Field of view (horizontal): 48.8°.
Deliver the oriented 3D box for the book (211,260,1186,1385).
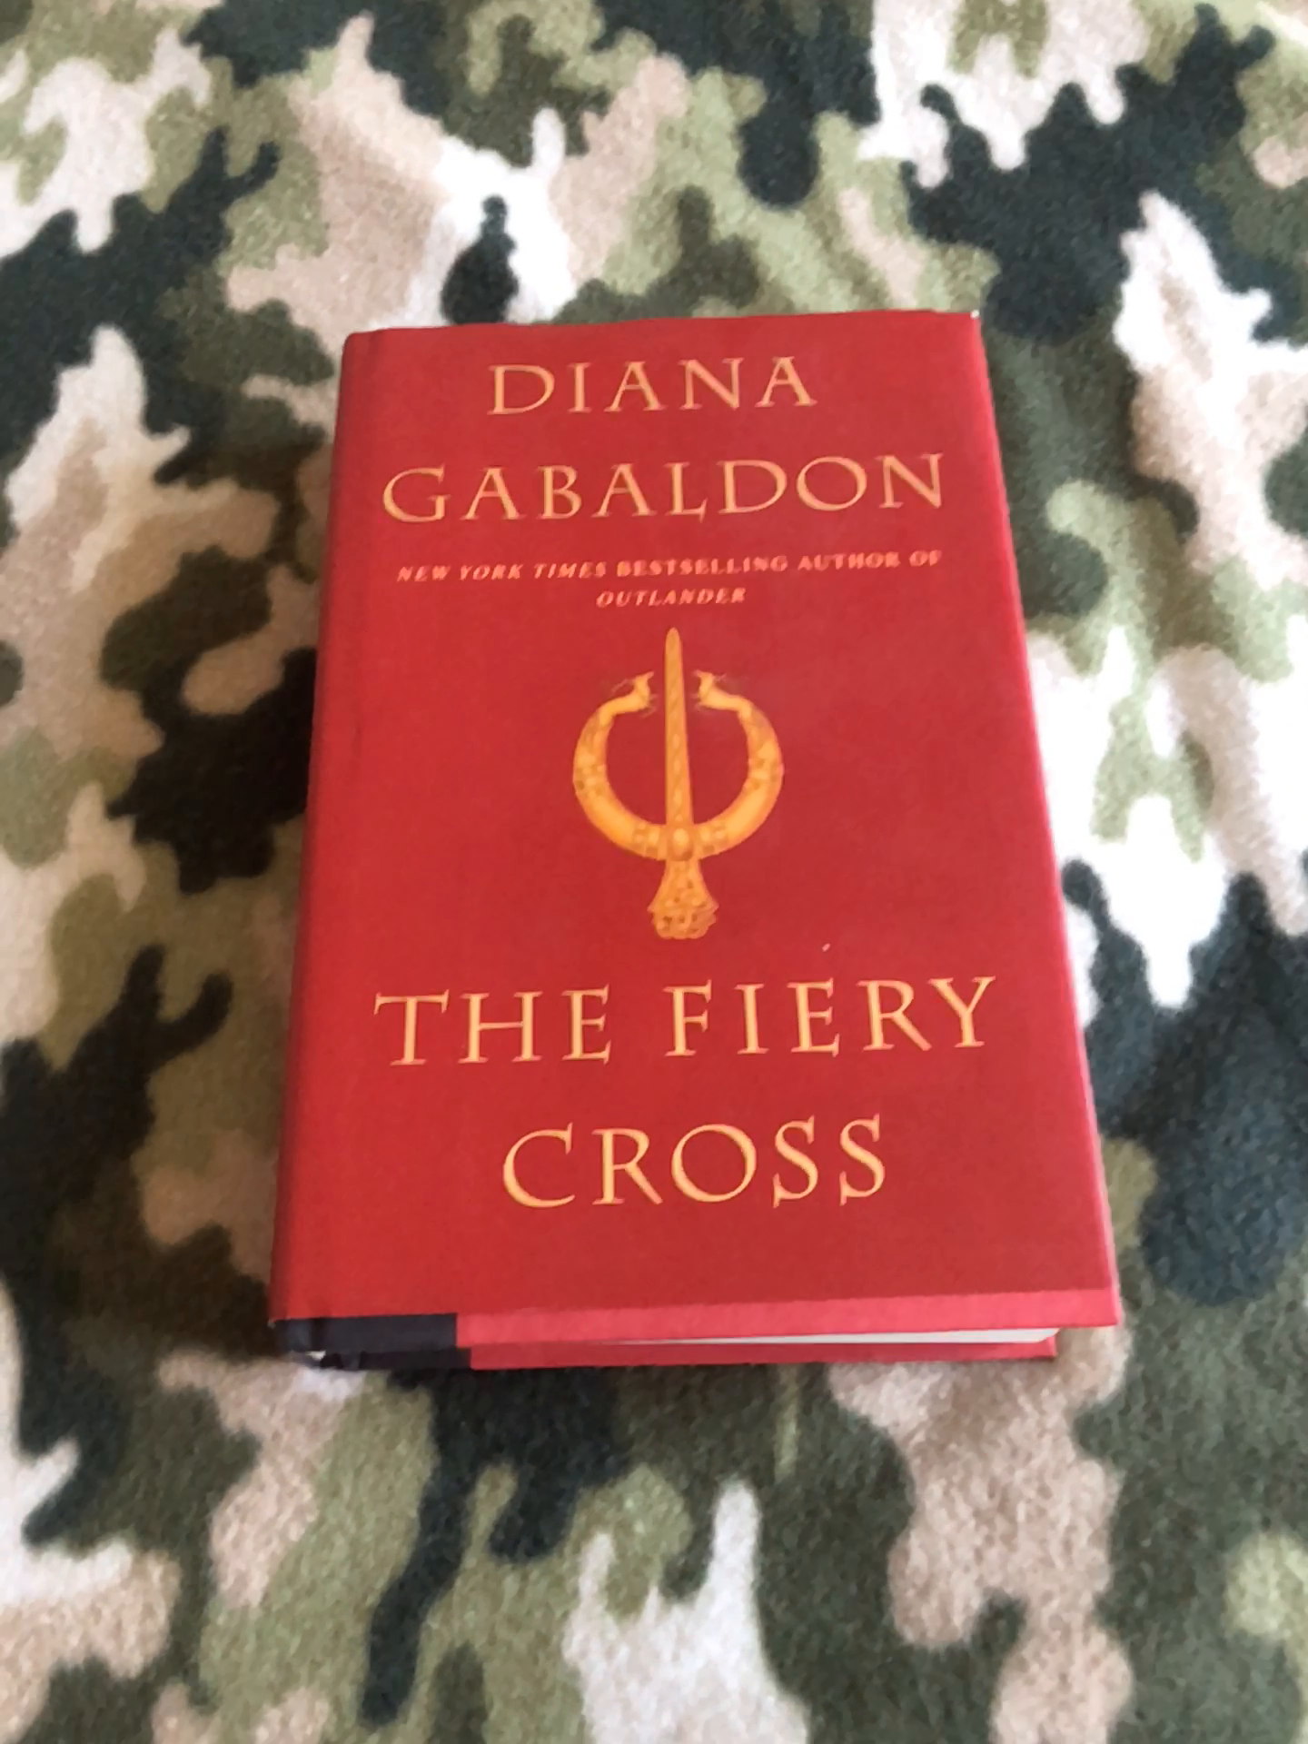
[{"bbox_3d":[0.004,-0.019,0.332,0.170,0.070,0.251,-1,67,-2],"label":"book"}]
